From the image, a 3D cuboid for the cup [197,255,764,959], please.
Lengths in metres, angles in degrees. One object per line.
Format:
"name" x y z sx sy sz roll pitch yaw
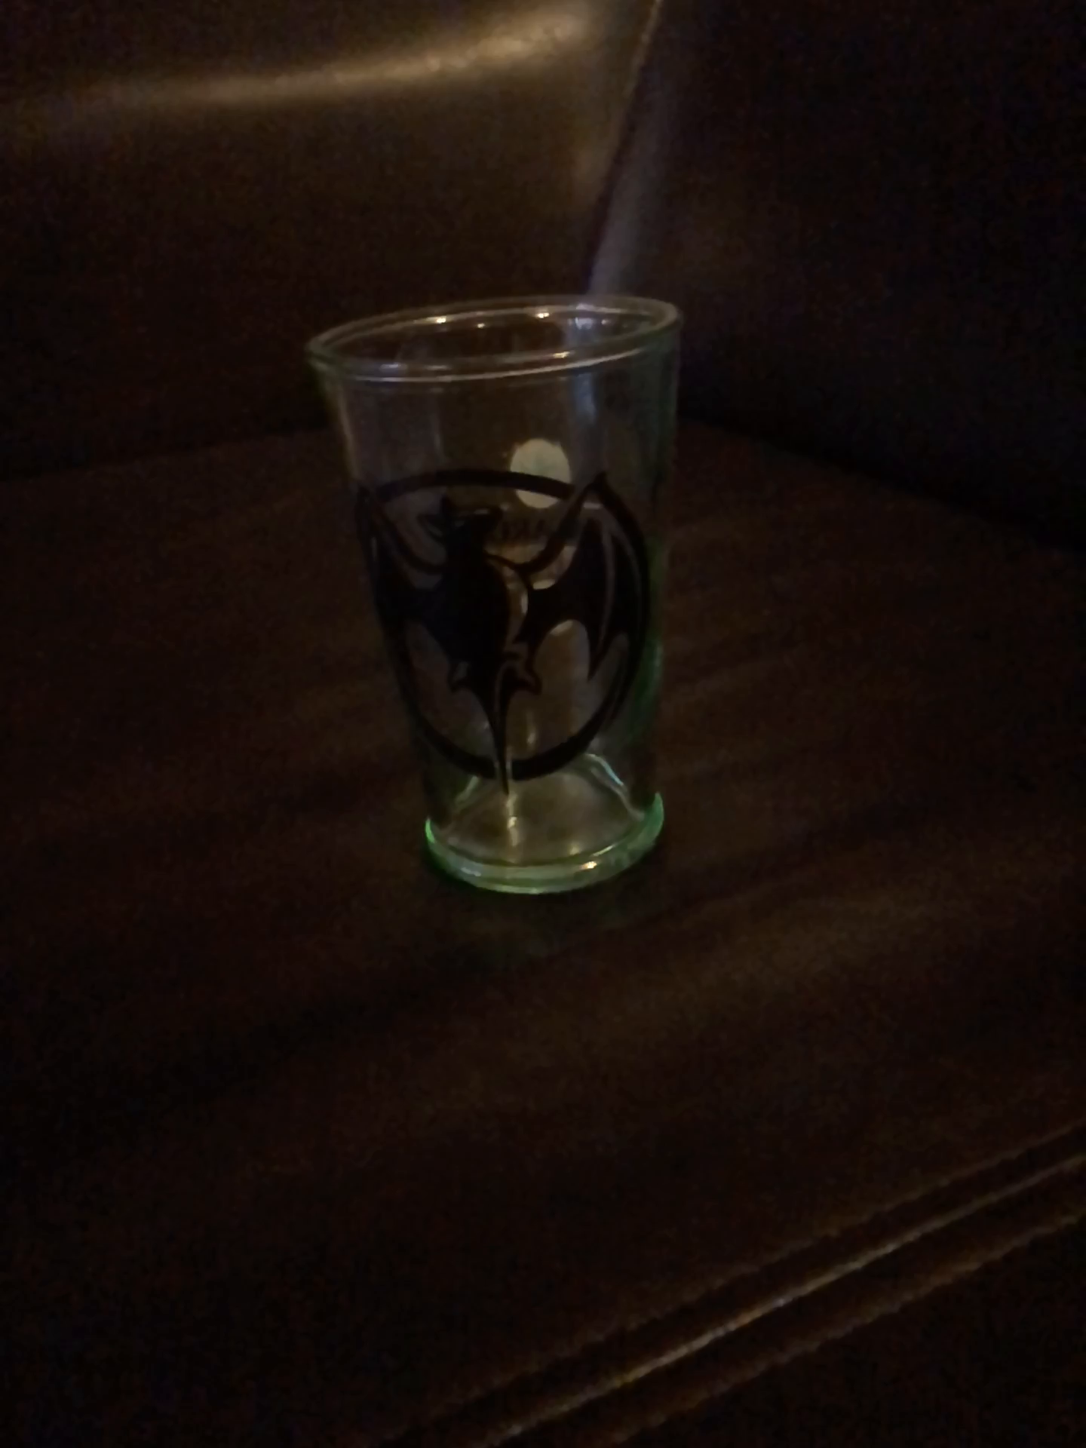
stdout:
"cup" -0.001 -0.028 0.254 0.084 0.117 0.088 -5 27 3
